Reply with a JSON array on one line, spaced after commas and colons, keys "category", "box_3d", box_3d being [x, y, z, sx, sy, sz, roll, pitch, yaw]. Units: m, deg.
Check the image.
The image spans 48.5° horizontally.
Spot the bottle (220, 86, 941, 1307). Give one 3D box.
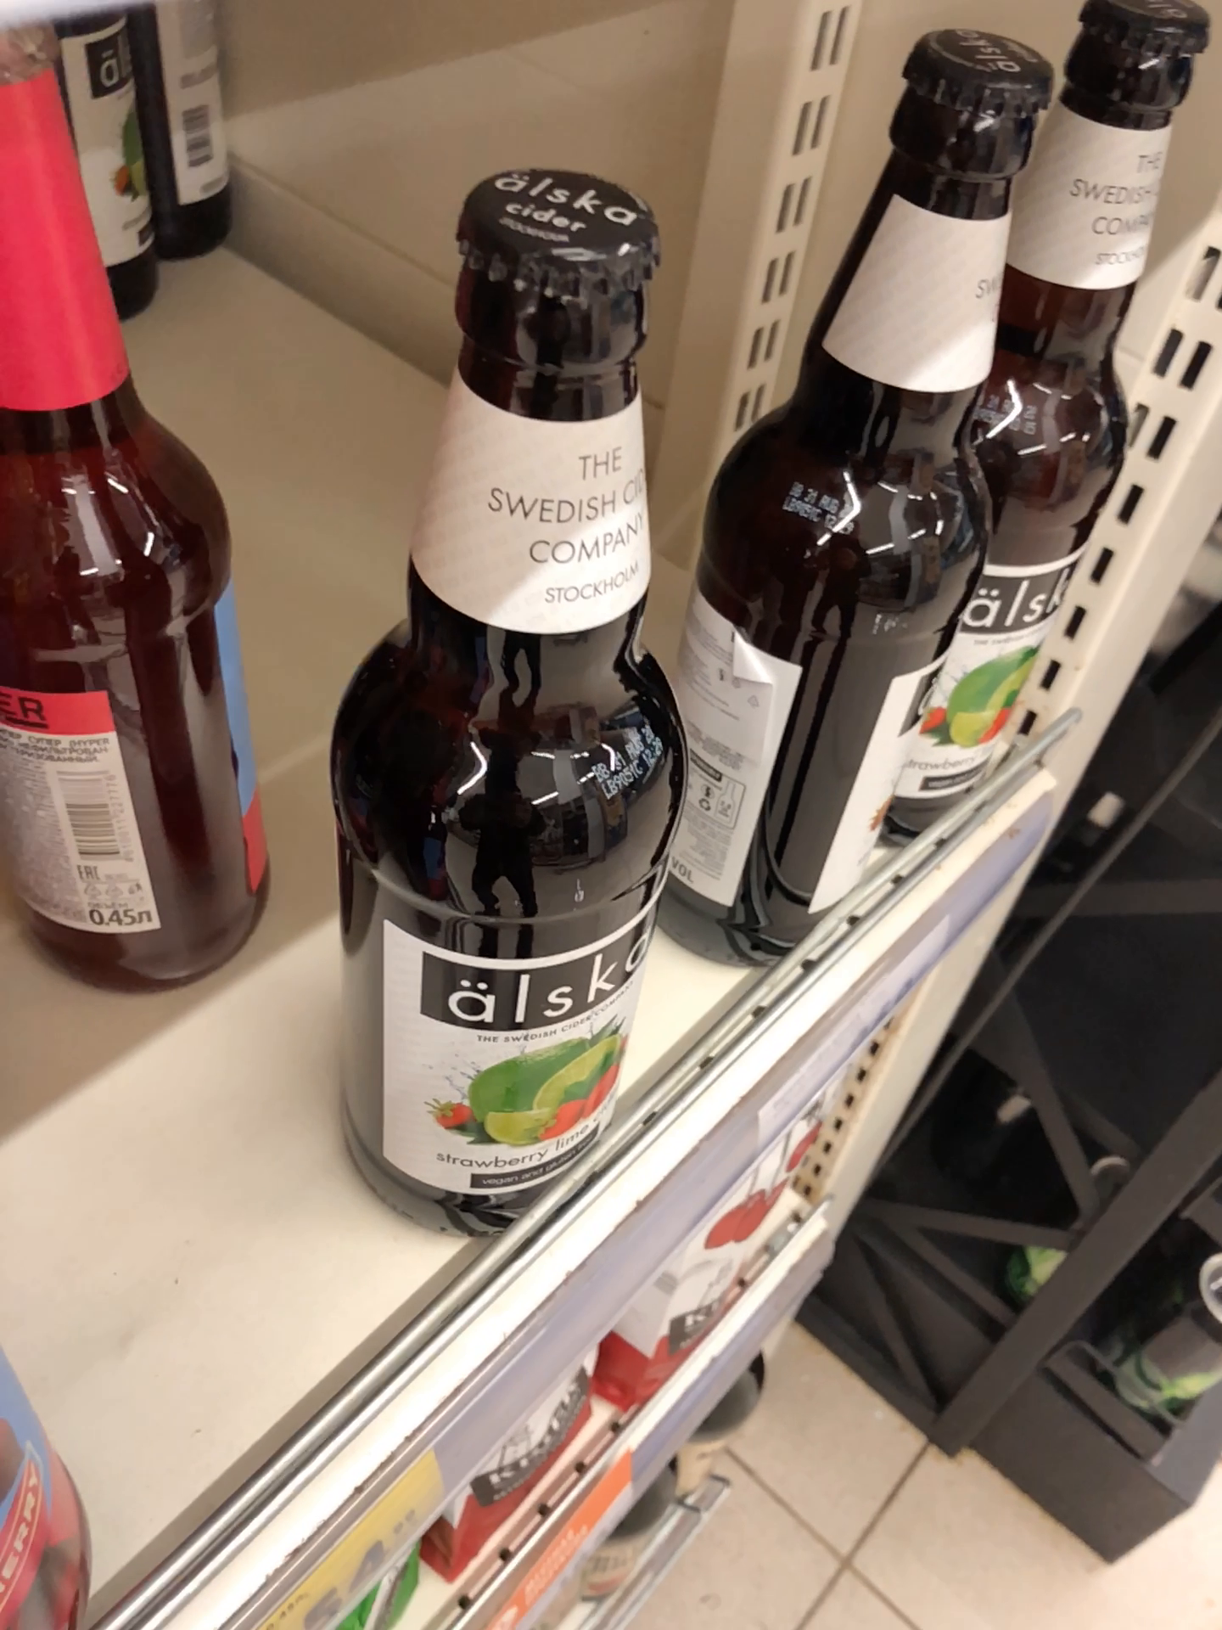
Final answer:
[{"category": "bottle", "box_3d": [-0.019, 0.001, 0.265, 0.070, 0.239, 0.070, 4, 47, -5]}]
